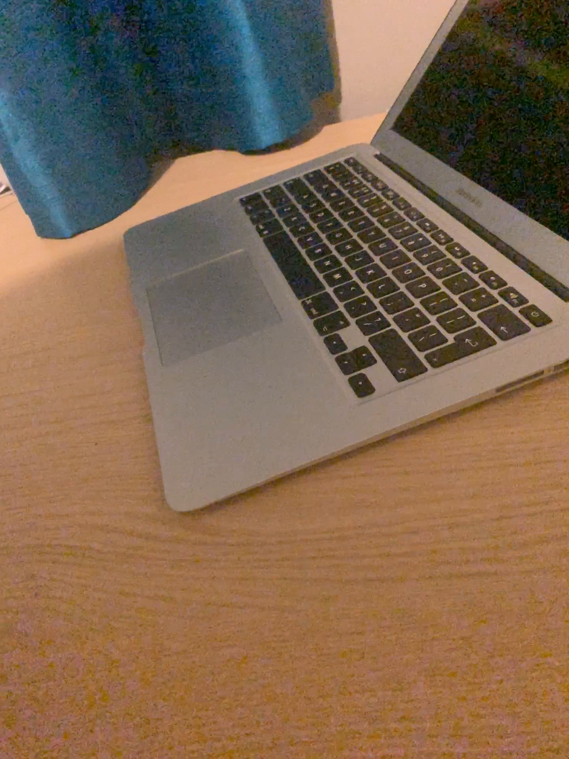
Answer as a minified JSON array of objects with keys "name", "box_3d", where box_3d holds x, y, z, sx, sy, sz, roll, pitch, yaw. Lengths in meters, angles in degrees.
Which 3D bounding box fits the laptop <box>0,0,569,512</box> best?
[{"name":"laptop","box_3d":[0.067,-0.153,0.334,0.368,0.144,0.304,-21,40,-5]}]
